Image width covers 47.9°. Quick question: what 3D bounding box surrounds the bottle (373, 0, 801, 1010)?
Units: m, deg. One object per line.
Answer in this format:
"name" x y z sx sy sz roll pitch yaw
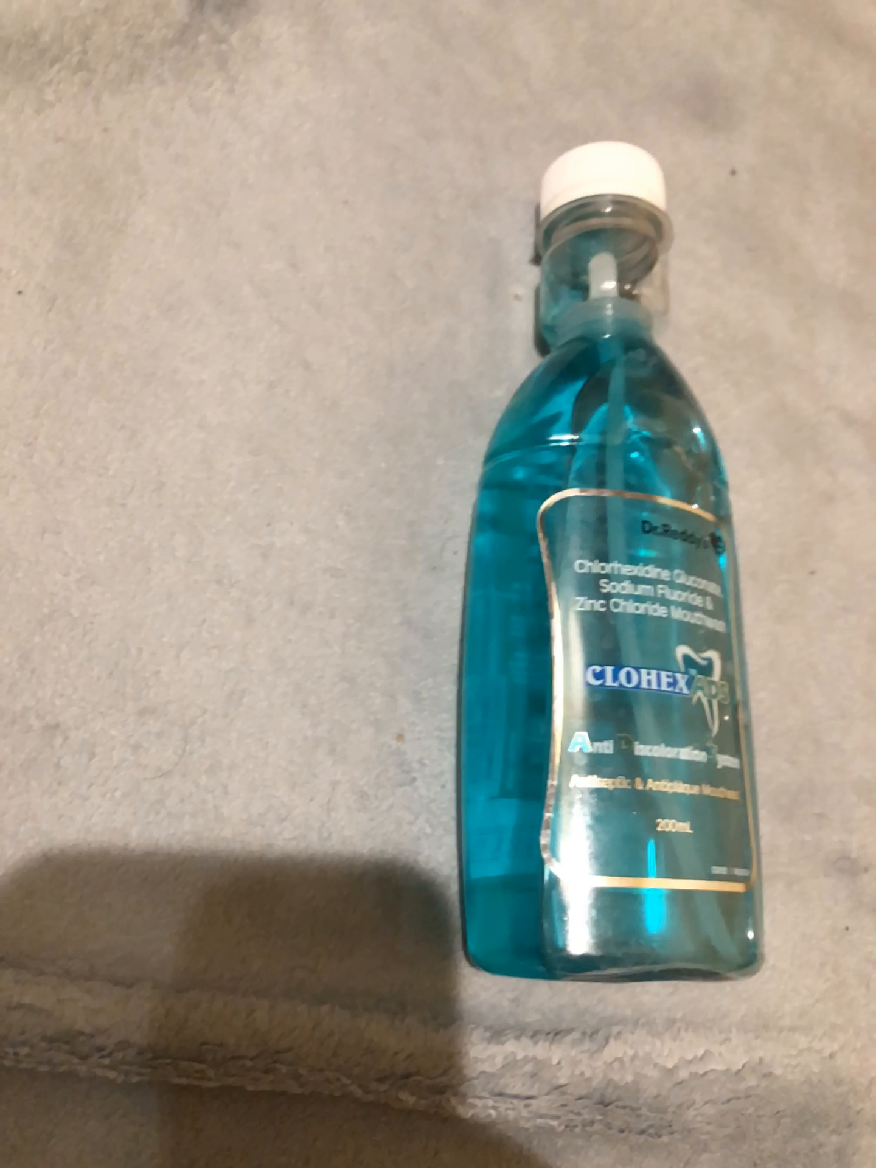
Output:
"bottle" 0.030 -0.023 0.217 0.070 0.040 0.210 9 72 -23
